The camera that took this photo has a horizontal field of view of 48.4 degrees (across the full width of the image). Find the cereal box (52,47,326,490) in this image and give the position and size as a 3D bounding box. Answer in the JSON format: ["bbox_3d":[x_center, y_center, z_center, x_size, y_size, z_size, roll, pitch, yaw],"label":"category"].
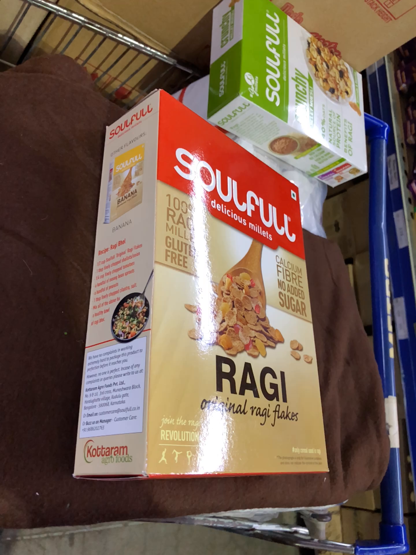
[{"bbox_3d":[0.000,0.002,0.306,0.170,0.050,0.240,21,60,-44],"label":"cereal box"}]
